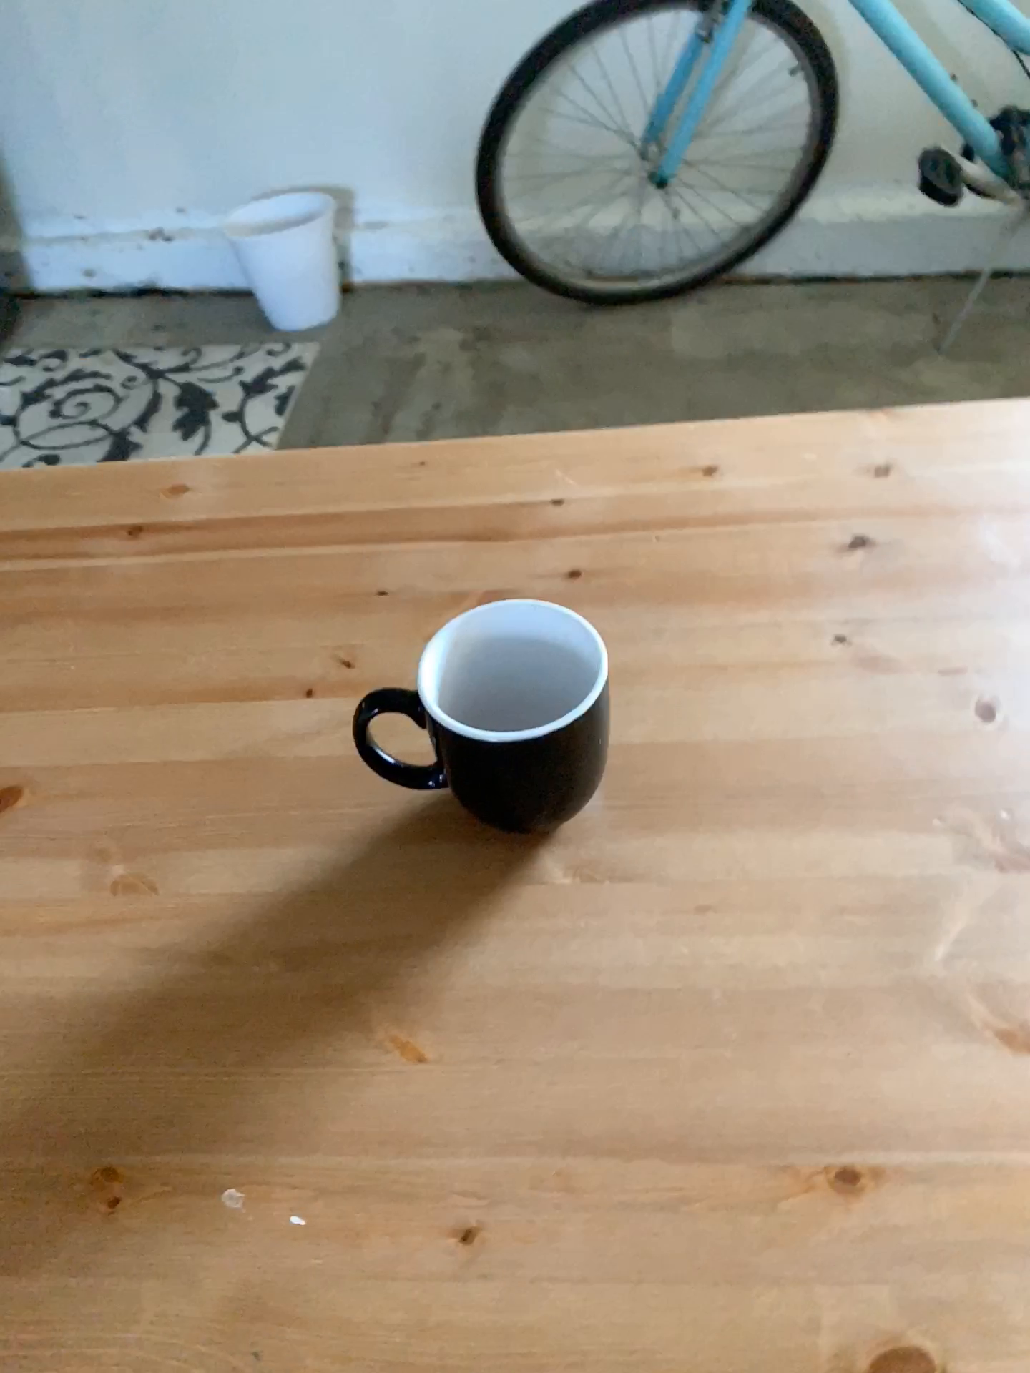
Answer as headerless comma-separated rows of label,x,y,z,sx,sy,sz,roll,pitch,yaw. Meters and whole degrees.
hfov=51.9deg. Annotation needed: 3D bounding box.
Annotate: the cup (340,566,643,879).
cup,-0.011,0.021,0.580,0.140,0.110,0.100,-11,49,-2
